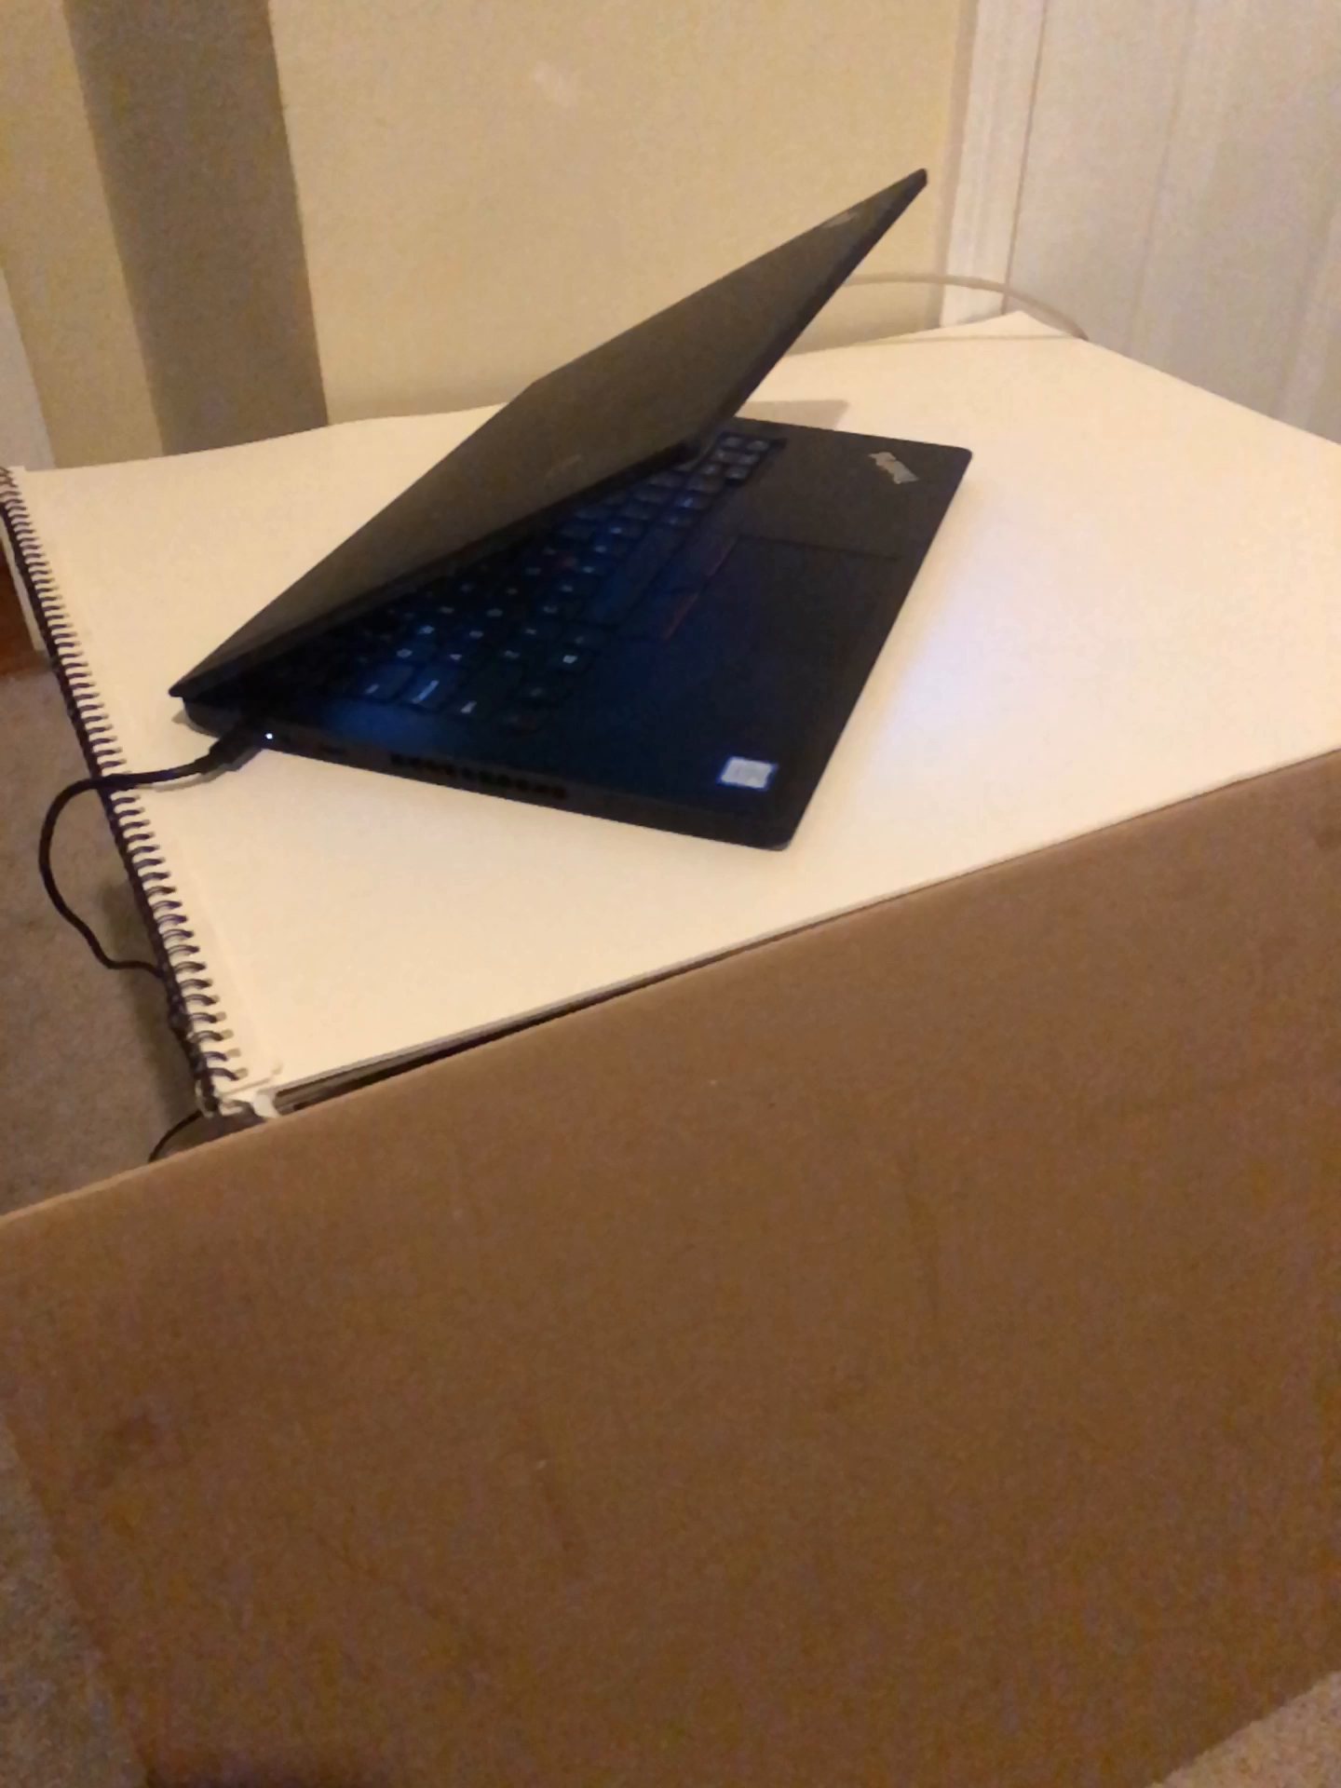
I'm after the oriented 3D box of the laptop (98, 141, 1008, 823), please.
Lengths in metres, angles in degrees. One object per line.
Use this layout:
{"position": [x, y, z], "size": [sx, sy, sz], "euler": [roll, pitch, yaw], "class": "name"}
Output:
{"position": [-0.015, -0.186, 0.571], "size": [0.227, 0.115, 0.319], "euler": [12, 40, 15], "class": "laptop"}
